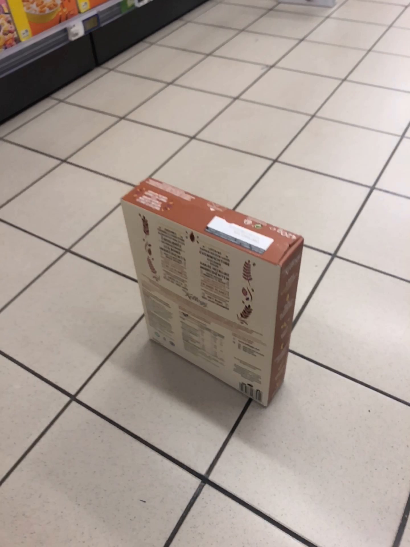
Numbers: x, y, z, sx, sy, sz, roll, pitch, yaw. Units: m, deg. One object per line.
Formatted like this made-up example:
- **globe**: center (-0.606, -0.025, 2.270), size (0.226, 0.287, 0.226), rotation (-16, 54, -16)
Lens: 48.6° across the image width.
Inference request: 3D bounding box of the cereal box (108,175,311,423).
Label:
- **cereal box**: center (0.001, 0.037, 0.518), size (0.200, 0.248, 0.050), rotation (25, 50, 26)
